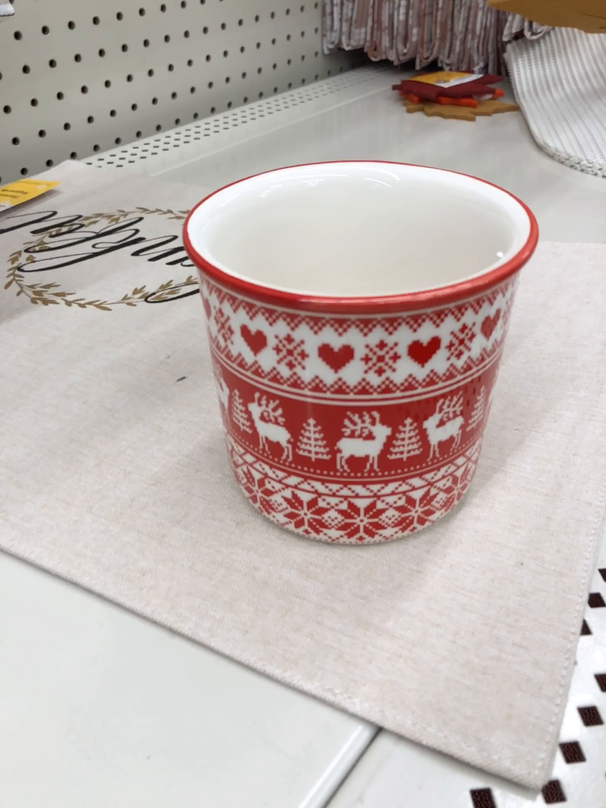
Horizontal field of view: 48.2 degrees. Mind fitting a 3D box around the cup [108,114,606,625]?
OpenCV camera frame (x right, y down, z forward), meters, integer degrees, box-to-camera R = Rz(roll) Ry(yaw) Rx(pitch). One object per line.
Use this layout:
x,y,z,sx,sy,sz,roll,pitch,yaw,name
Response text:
0.031,-0.028,0.246,0.100,0.100,0.150,26,46,30,cup
